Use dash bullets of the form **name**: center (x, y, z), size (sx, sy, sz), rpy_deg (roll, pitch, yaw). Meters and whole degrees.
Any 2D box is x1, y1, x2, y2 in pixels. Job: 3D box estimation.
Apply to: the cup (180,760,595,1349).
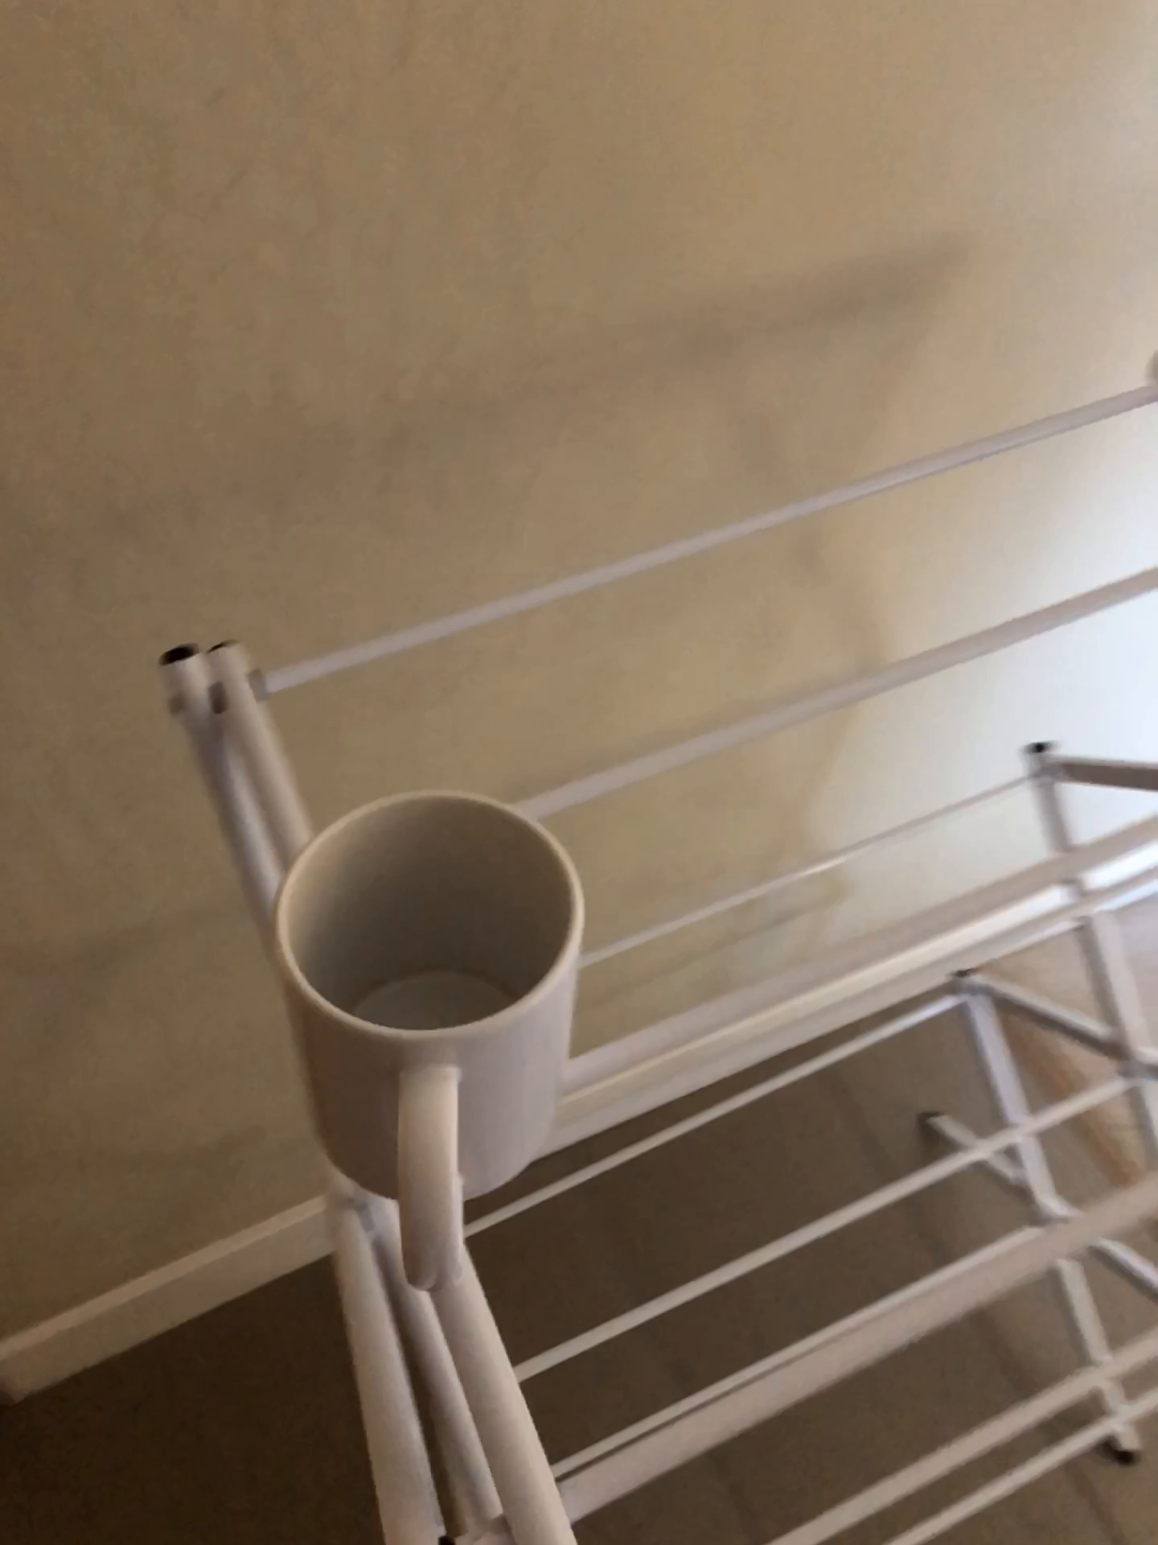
- **cup**: center (-0.047, 0.075, 0.358), size (0.090, 0.090, 0.130), rpy_deg (-1, 46, -4)
